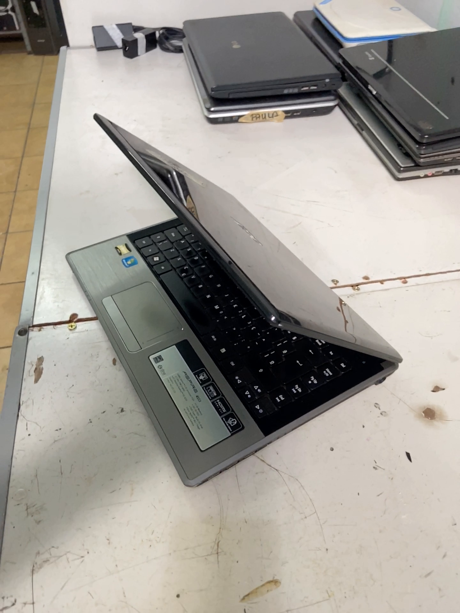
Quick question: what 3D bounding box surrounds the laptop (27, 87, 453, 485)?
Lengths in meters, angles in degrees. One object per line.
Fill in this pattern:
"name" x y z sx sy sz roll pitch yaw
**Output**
"laptop" -0.019 -0.054 0.467 0.226 0.157 0.335 -23 51 -21
